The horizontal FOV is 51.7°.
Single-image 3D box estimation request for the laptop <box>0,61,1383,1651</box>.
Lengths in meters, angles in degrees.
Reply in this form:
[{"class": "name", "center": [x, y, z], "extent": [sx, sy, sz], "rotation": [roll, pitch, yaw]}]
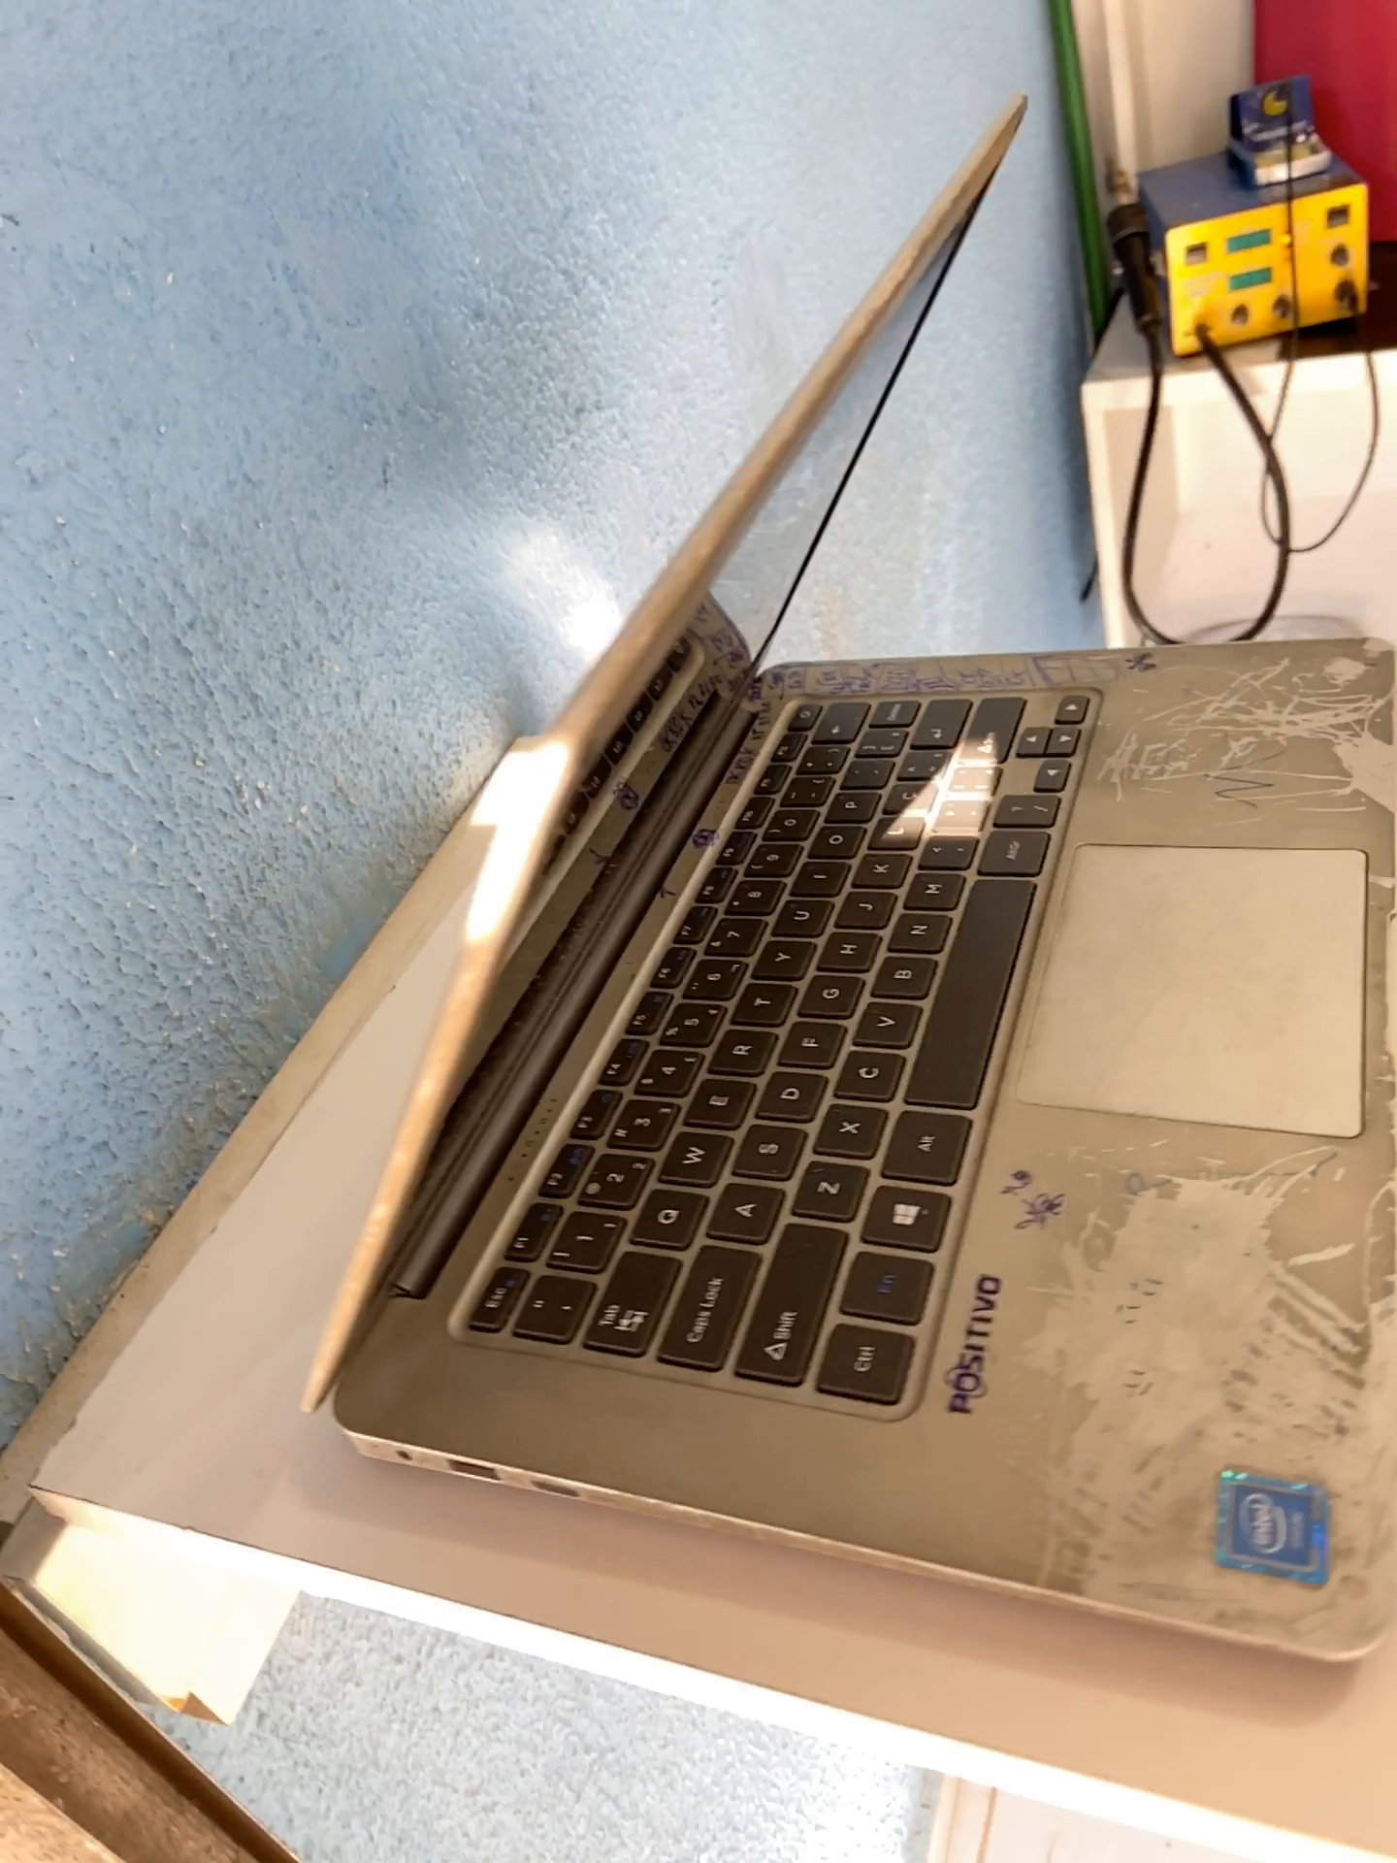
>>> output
[{"class": "laptop", "center": [0.045, -0.056, 0.344], "extent": [0.212, 0.167, 0.328], "rotation": [1, 40, 25]}]
